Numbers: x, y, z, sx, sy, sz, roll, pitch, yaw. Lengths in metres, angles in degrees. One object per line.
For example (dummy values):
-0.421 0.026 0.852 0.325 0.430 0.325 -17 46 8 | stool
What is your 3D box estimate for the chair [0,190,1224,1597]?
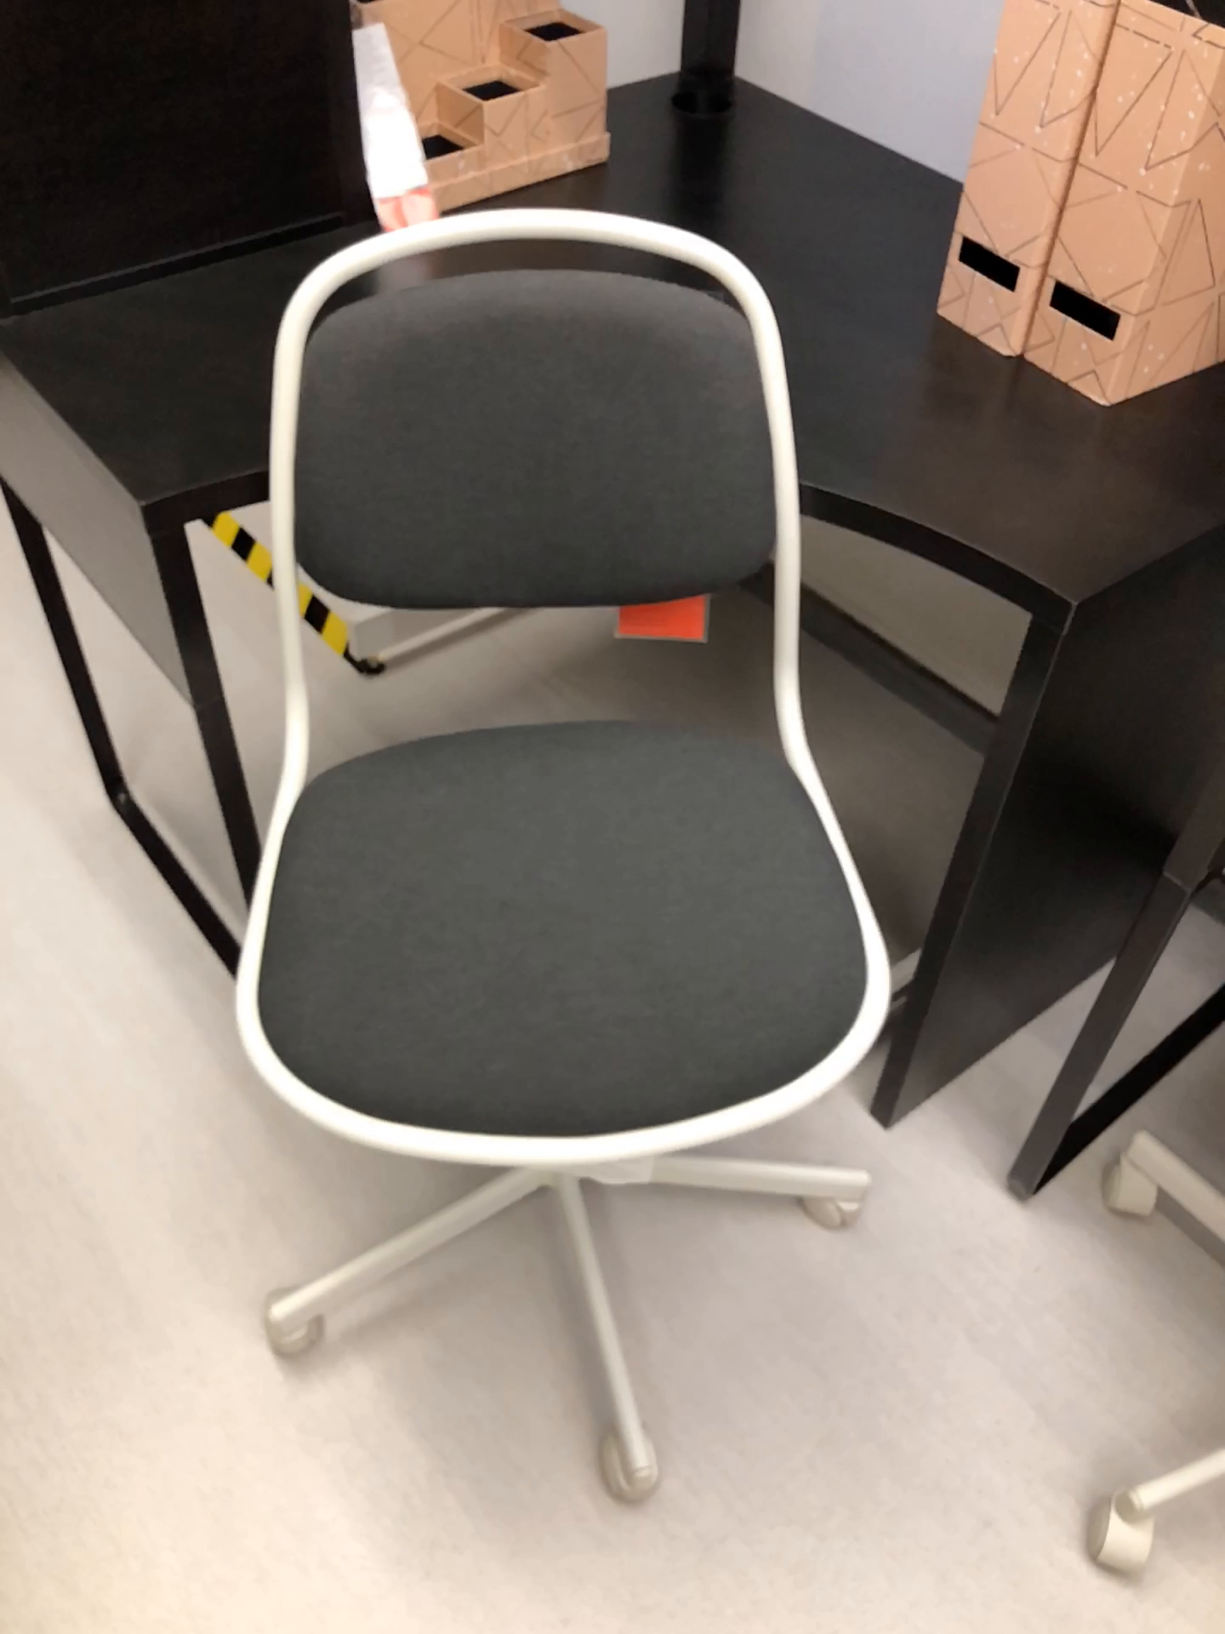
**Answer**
-0.083 0.099 1.085 0.660 0.904 0.624 -5 47 -8 | chair
